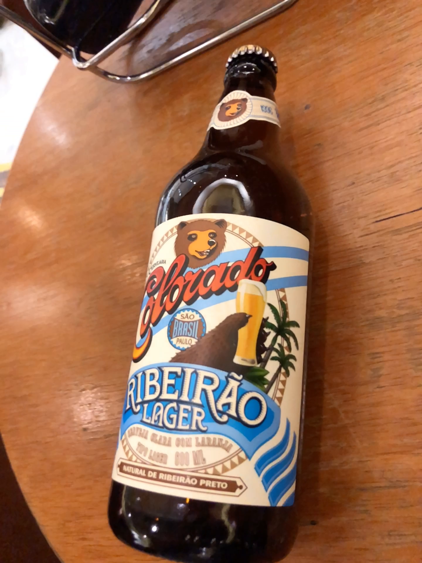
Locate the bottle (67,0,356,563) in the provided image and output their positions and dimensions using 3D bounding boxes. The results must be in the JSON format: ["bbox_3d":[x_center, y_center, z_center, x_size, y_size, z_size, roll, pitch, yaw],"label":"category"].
[{"bbox_3d":[0.012,-0.019,0.224,0.090,0.060,0.260,-5,69,32],"label":"bottle"}]
